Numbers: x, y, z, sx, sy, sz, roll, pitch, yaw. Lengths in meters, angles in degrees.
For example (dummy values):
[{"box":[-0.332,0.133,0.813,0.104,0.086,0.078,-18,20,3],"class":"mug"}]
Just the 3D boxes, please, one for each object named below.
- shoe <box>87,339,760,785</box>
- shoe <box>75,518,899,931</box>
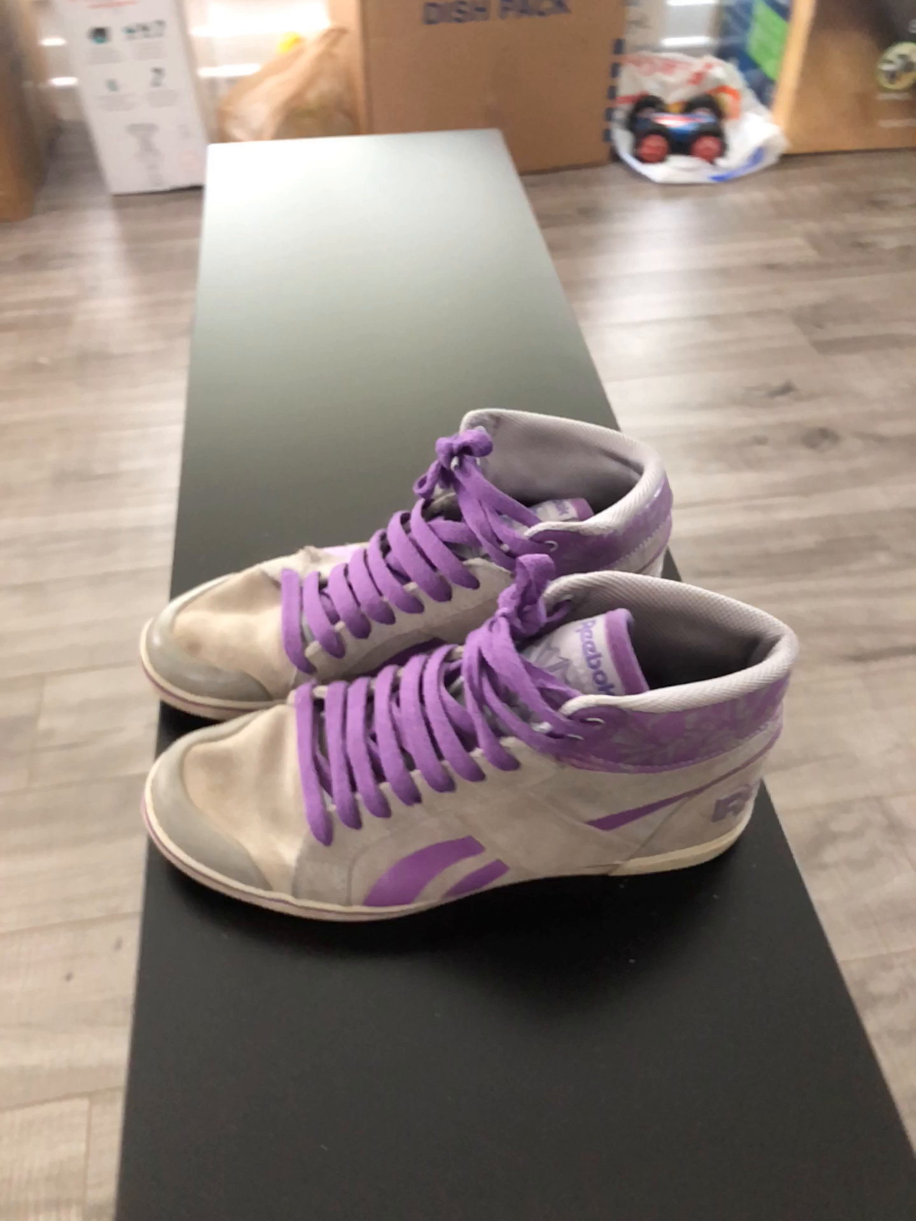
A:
[{"box":[-0.017,-0.023,0.433,0.240,0.120,0.100,-9,46,-9],"class":"shoe"},{"box":[0.008,0.042,0.367,0.240,0.110,0.090,-2,46,-2],"class":"shoe"}]
